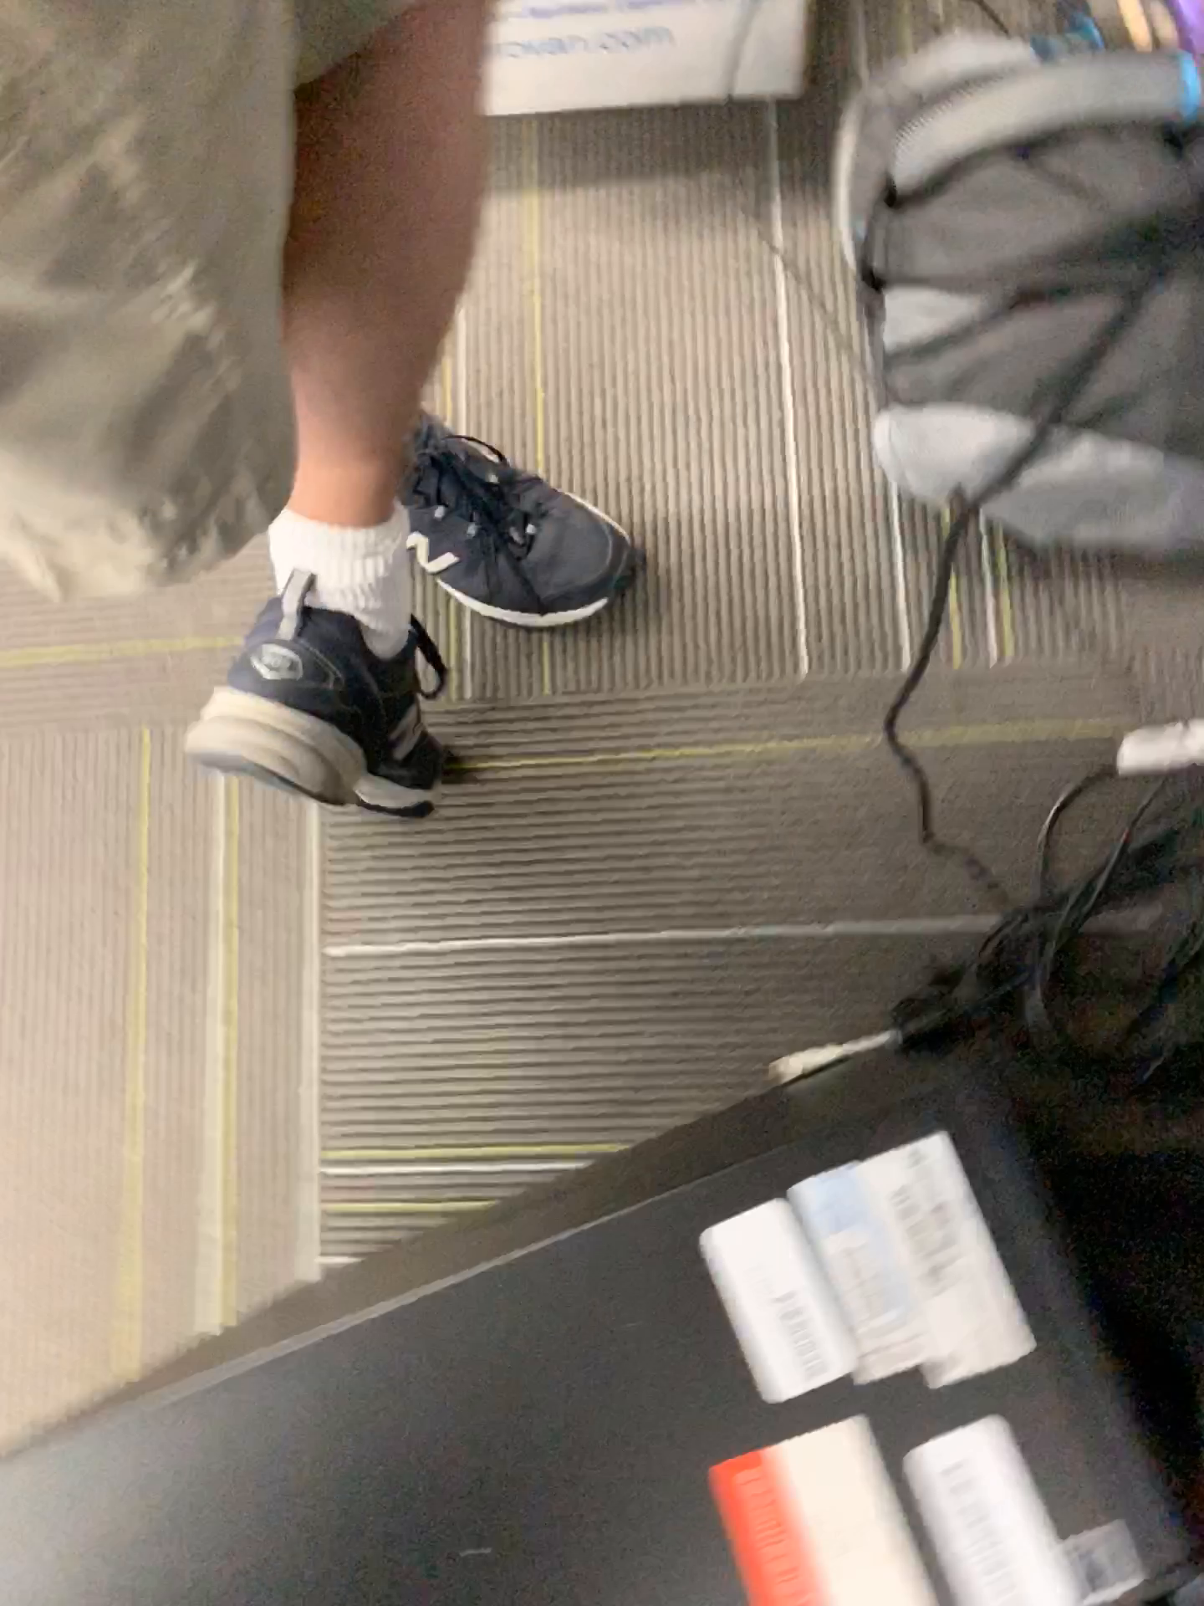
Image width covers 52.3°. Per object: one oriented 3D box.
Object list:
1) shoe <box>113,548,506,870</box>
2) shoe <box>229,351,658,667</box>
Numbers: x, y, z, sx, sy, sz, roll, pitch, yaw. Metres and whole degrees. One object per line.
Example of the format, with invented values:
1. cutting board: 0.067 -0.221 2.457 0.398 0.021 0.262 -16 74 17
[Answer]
1. shoe: -0.178 -0.048 0.839 0.122 0.293 0.129 19 85 12
2. shoe: -0.119 -0.226 0.945 0.297 0.077 0.120 25 84 12
